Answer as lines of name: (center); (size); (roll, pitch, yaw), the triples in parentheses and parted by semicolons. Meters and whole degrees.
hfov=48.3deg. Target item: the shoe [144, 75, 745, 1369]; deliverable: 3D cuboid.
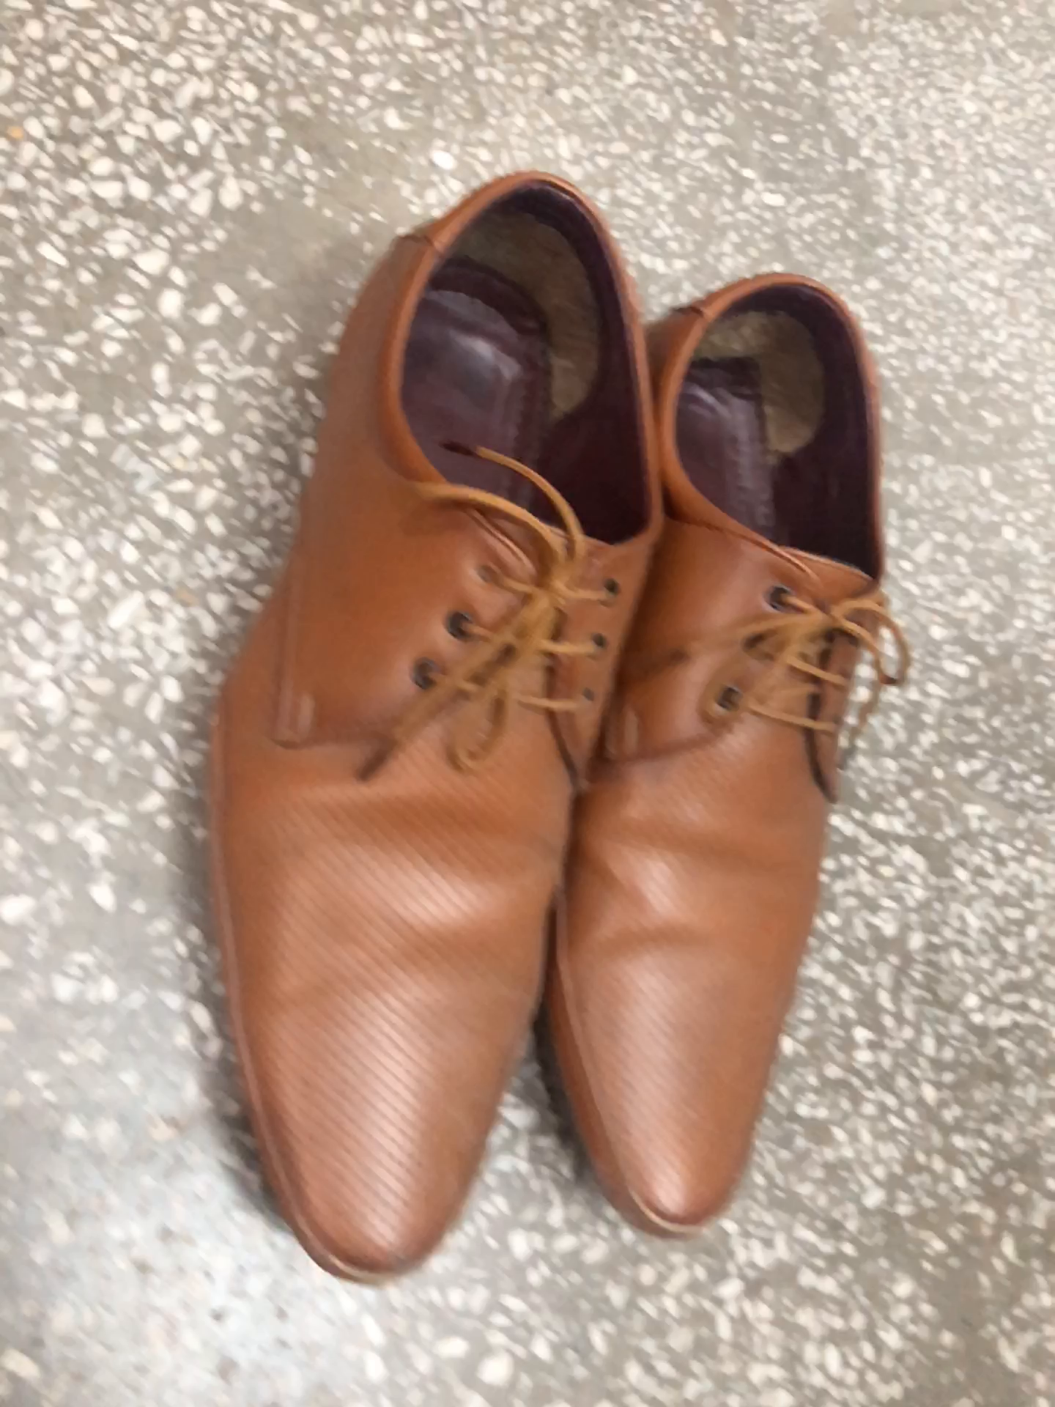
shoe: (-0.021, 0.005, 0.324); (0.105, 0.118, 0.284); (11, 74, -25)

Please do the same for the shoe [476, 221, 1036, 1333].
shoe: (0.067, 0.022, 0.369); (0.105, 0.118, 0.284); (11, 74, -25)
